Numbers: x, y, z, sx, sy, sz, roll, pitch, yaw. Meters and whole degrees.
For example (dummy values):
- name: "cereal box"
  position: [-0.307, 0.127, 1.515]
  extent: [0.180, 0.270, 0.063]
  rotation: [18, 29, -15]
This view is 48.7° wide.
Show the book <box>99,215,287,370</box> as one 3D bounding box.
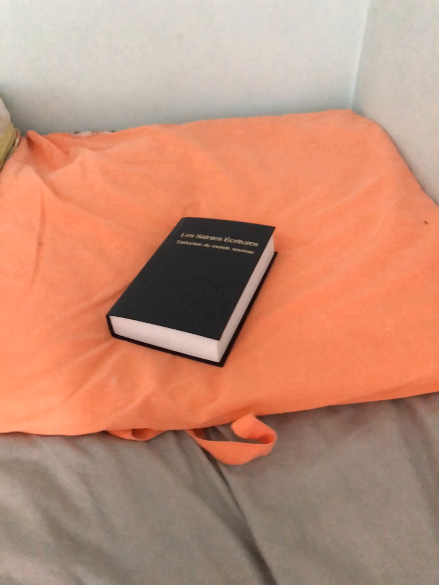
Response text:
- name: "book"
  position: [-0.019, -0.011, 0.493]
  extent: [0.126, 0.030, 0.175]
  rotation: [9, 46, 23]
